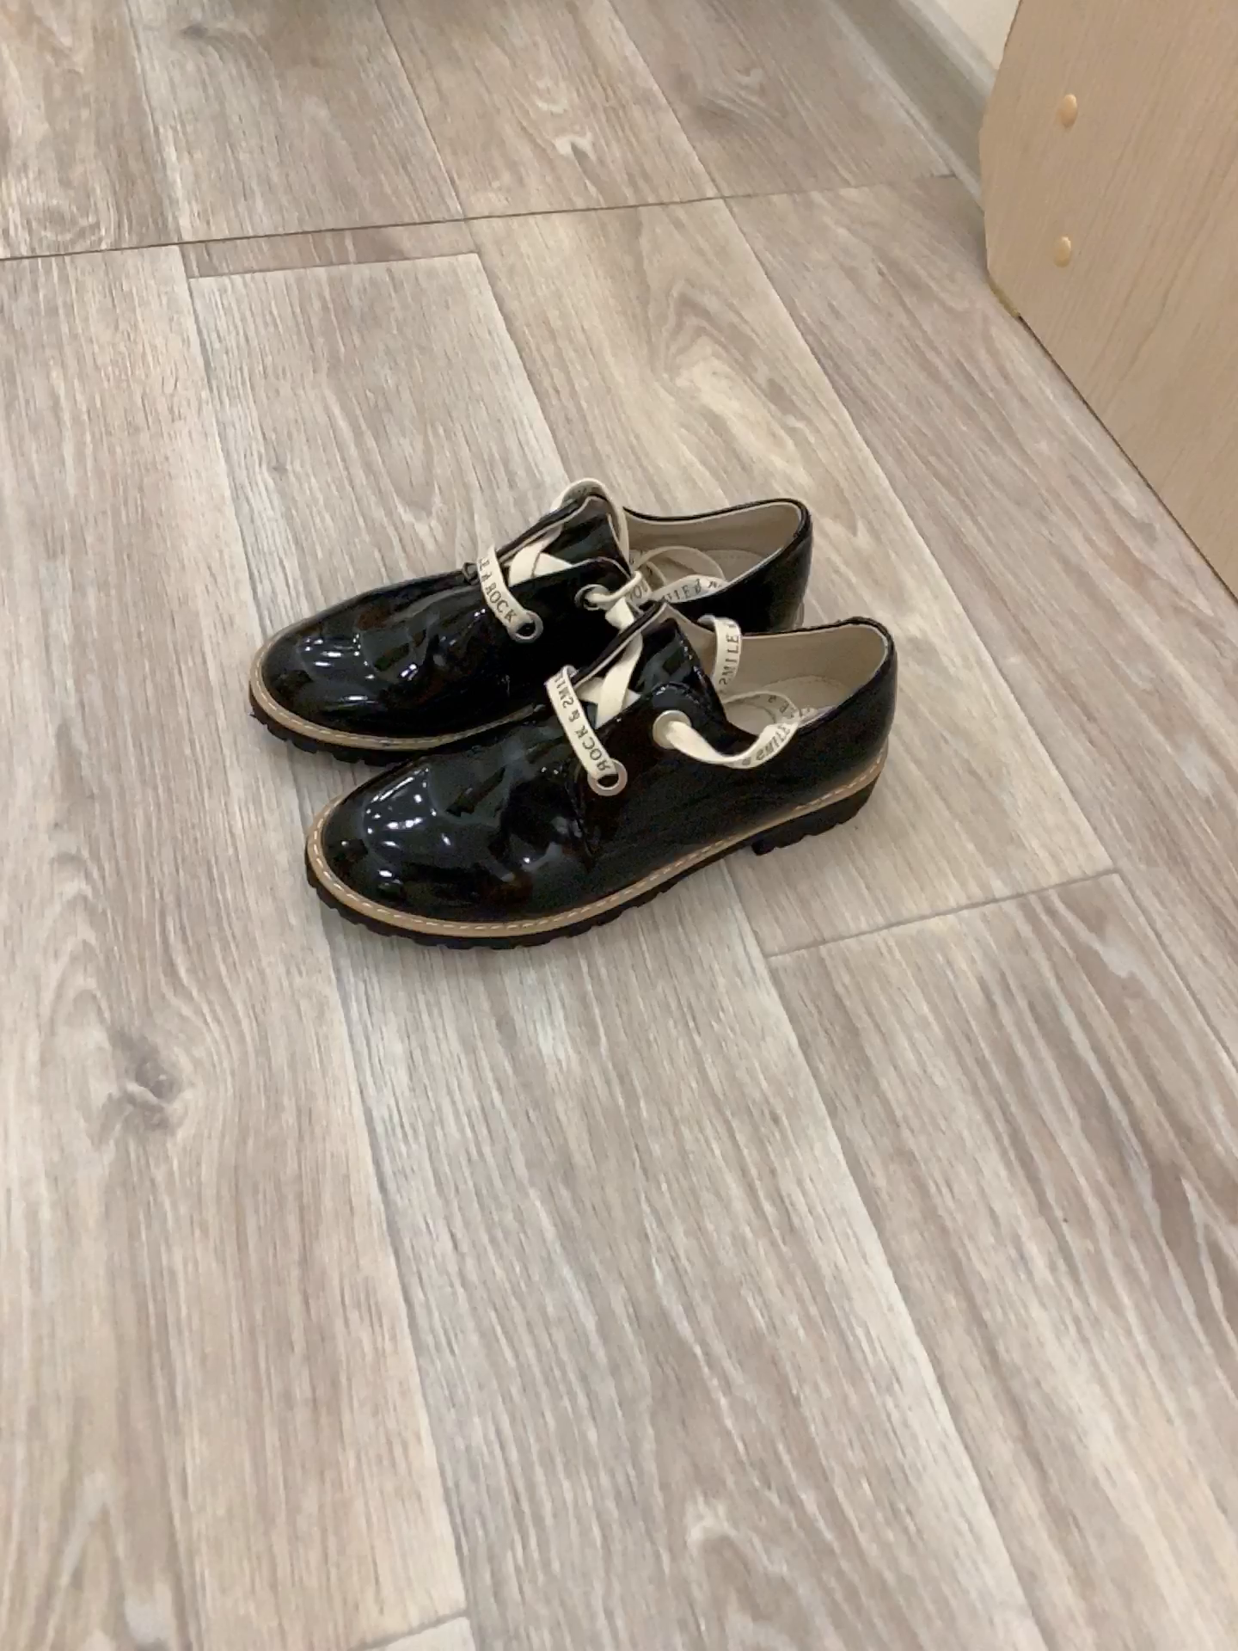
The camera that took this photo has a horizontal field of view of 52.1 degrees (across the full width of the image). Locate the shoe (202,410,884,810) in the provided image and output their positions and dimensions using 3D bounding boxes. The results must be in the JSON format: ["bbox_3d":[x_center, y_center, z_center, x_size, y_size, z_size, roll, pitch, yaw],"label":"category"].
[{"bbox_3d":[-0.035,-0.100,0.574,0.270,0.100,0.100,-11,59,-13],"label":"shoe"}]

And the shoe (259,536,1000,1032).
[{"bbox_3d":[0.004,-0.021,0.531,0.270,0.100,0.100,-17,60,-17],"label":"shoe"}]
